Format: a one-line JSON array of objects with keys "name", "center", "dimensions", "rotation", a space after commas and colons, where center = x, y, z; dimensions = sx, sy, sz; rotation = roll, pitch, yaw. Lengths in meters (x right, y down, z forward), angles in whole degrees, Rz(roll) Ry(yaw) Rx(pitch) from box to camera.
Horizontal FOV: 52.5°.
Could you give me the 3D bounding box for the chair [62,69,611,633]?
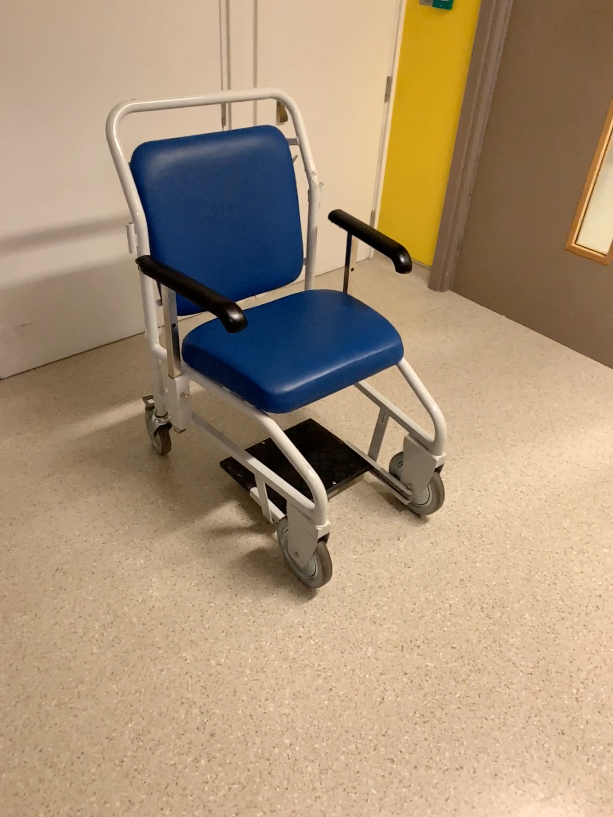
[{"name": "chair", "center": [0.010, -0.239, 1.710], "dimensions": [0.823, 1.029, 0.946], "rotation": [-24, 46, -31]}]
